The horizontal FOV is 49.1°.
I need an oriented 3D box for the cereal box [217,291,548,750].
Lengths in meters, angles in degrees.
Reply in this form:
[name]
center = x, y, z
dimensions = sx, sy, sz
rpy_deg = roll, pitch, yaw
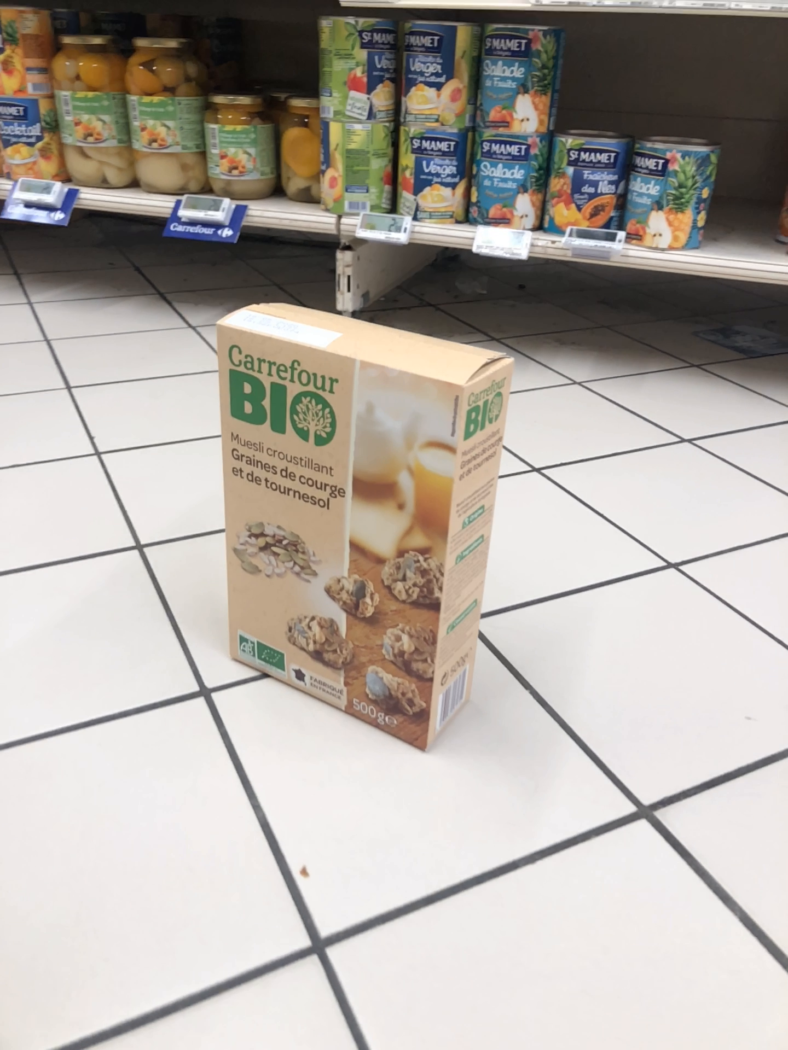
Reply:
[cereal box]
center = -0.014, -0.006, 0.522
dimensions = 0.170, 0.229, 0.070
rpy_deg = 19, 32, 28
